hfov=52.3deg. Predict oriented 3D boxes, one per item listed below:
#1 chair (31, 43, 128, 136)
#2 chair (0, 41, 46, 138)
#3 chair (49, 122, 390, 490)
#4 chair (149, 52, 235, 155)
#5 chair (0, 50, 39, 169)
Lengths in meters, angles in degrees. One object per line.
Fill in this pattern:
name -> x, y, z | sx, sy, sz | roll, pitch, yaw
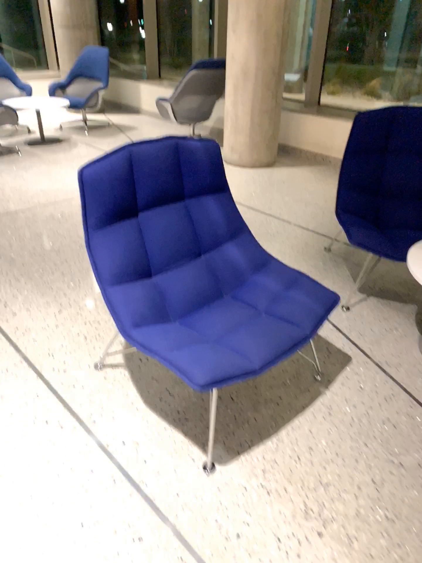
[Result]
chair -> -1.674, -2.515, 5.592 | 0.782, 0.972, 0.765 | 19, 35, 26
chair -> -2.572, -2.331, 5.169 | 0.773, 0.942, 0.673 | 27, 40, 36
chair -> 0.020, -0.012, 1.655 | 0.811, 0.932, 0.783 | -25, 40, -37
chair -> -0.241, -2.117, 5.056 | 0.642, 0.962, 0.774 | -20, 38, -31
chair -> -2.379, -1.759, 4.320 | 0.803, 0.932, 0.774 | 27, 39, 35
